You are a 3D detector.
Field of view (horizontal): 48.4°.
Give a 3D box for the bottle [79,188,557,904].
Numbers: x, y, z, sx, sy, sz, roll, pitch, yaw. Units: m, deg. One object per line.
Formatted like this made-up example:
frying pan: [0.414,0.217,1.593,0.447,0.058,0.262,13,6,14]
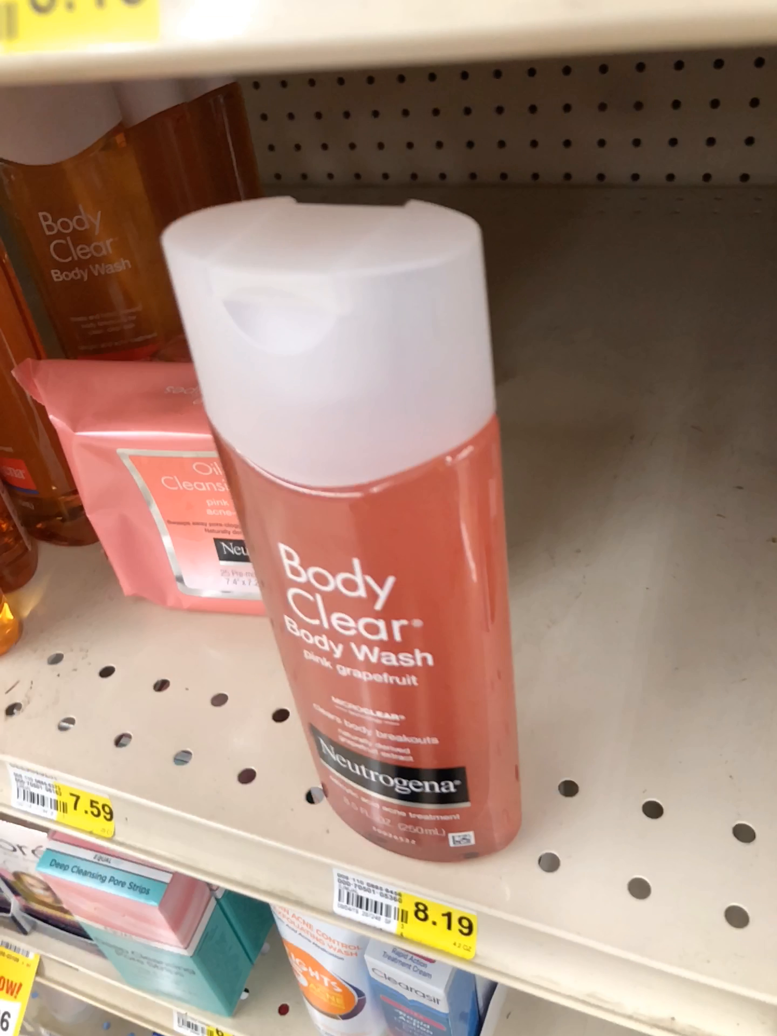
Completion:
bottle: [0.000,0.023,0.203,0.070,0.189,0.030,10,46,23]
